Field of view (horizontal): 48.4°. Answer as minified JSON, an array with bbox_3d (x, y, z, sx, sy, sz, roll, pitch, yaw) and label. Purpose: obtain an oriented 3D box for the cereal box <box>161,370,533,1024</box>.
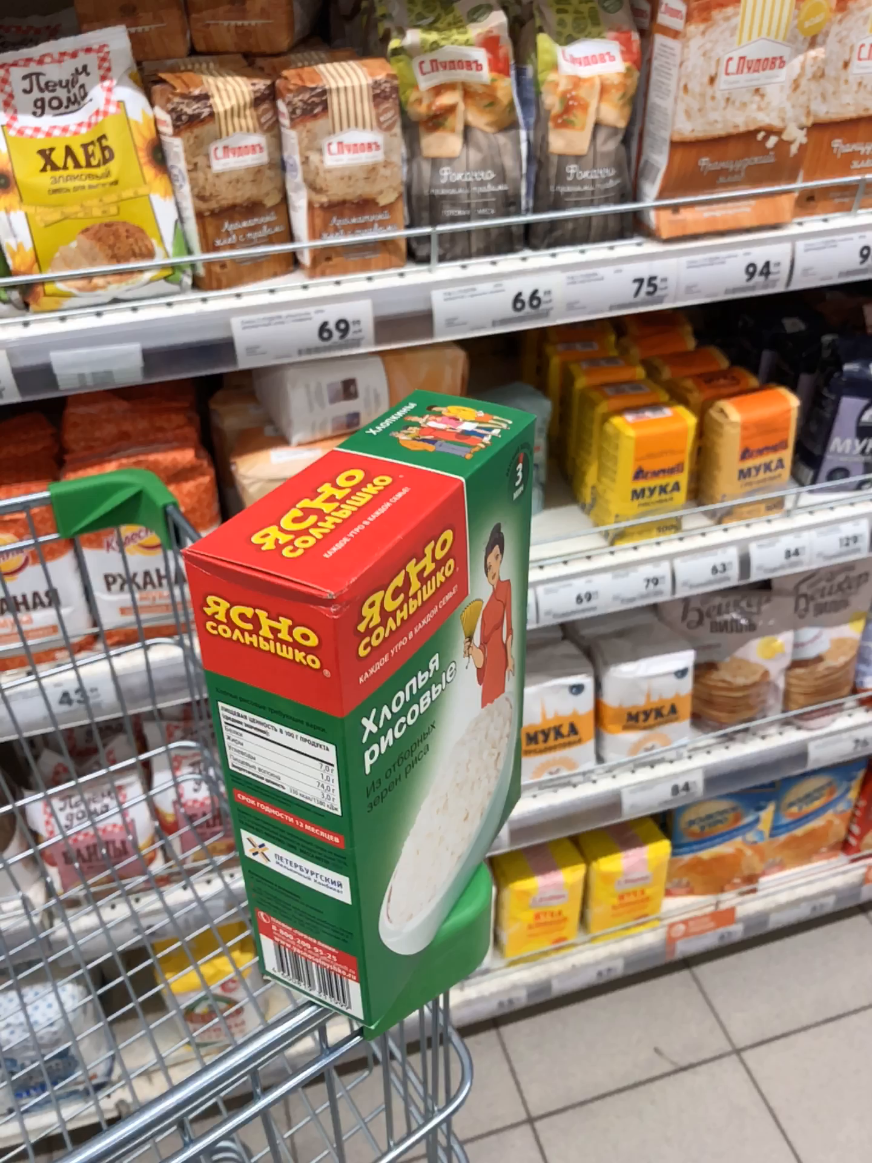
[{"bbox_3d":[-0.018,0.040,0.359,0.050,0.189,0.141,16,37,24],"label":"cereal box"}]
